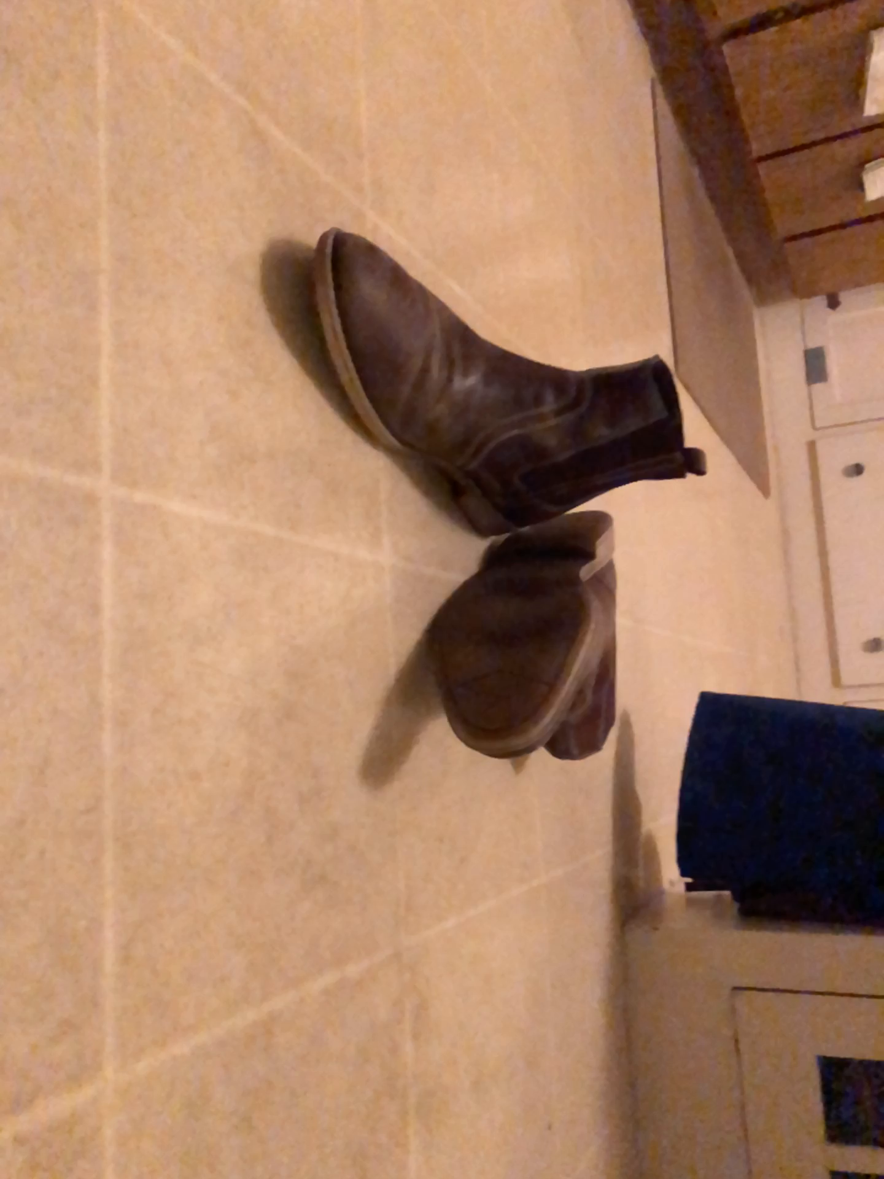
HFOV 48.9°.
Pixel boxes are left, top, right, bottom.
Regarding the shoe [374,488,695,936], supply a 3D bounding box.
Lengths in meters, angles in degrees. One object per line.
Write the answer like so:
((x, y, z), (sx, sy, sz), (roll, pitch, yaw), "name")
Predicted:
((0.088, 0.064, 0.684), (0.315, 0.111, 0.161), (-50, 130, -57), "shoe")

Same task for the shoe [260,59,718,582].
((0.055, -0.131, 0.604), (0.314, 0.160, 0.111), (44, 46, -53), "shoe")
